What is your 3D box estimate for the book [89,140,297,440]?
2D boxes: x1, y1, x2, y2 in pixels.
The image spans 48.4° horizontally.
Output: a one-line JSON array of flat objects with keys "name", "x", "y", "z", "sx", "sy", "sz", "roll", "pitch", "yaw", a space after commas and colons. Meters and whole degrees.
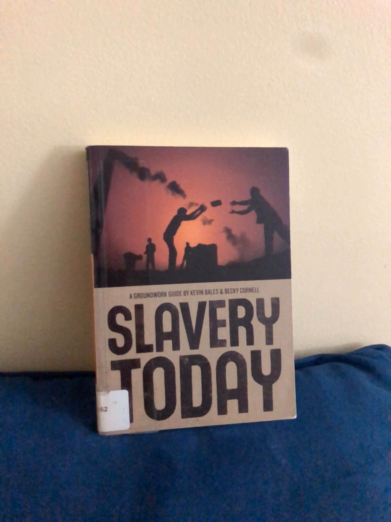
[{"name": "book", "x": -0.001, "y": 0.016, "z": 0.288, "sx": 0.127, "sy": 0.182, "sz": 0.028, "roll": -2, "pitch": 1, "yaw": -9}]
